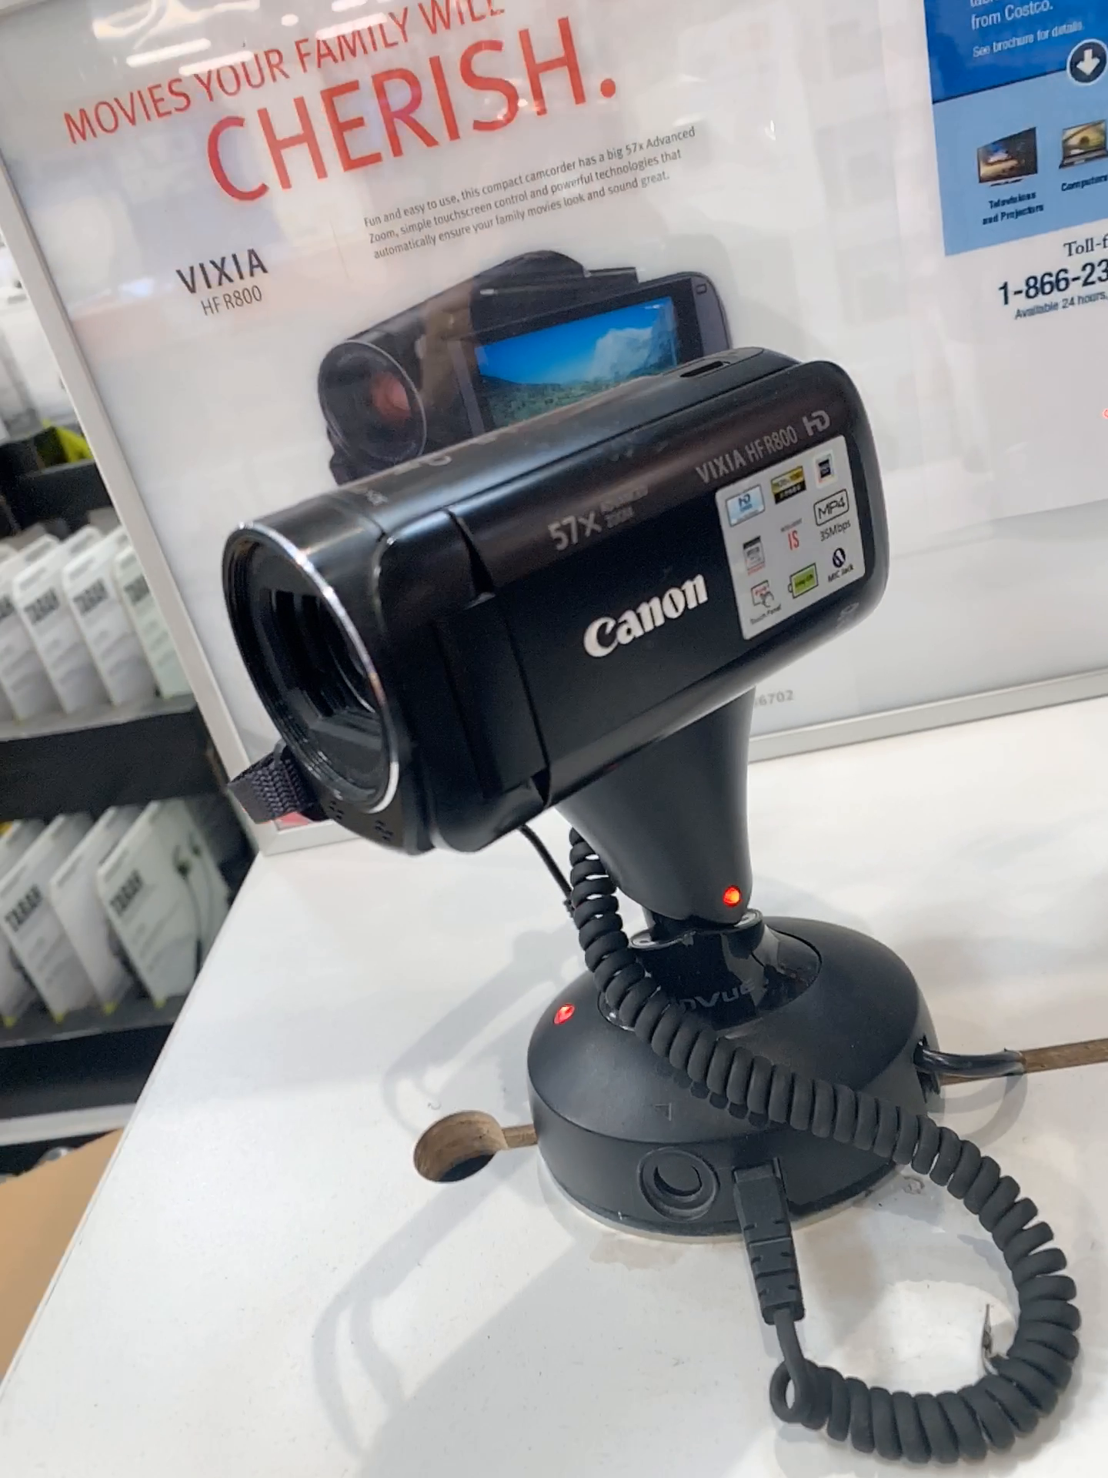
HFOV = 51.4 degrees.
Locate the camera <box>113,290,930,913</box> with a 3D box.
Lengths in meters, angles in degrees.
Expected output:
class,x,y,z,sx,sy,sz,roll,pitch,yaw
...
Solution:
class,x,y,z,sx,sy,sz,roll,pitch,yaw
camera,0.002,-0.032,0.195,0.125,0.050,0.050,-31,29,-28
